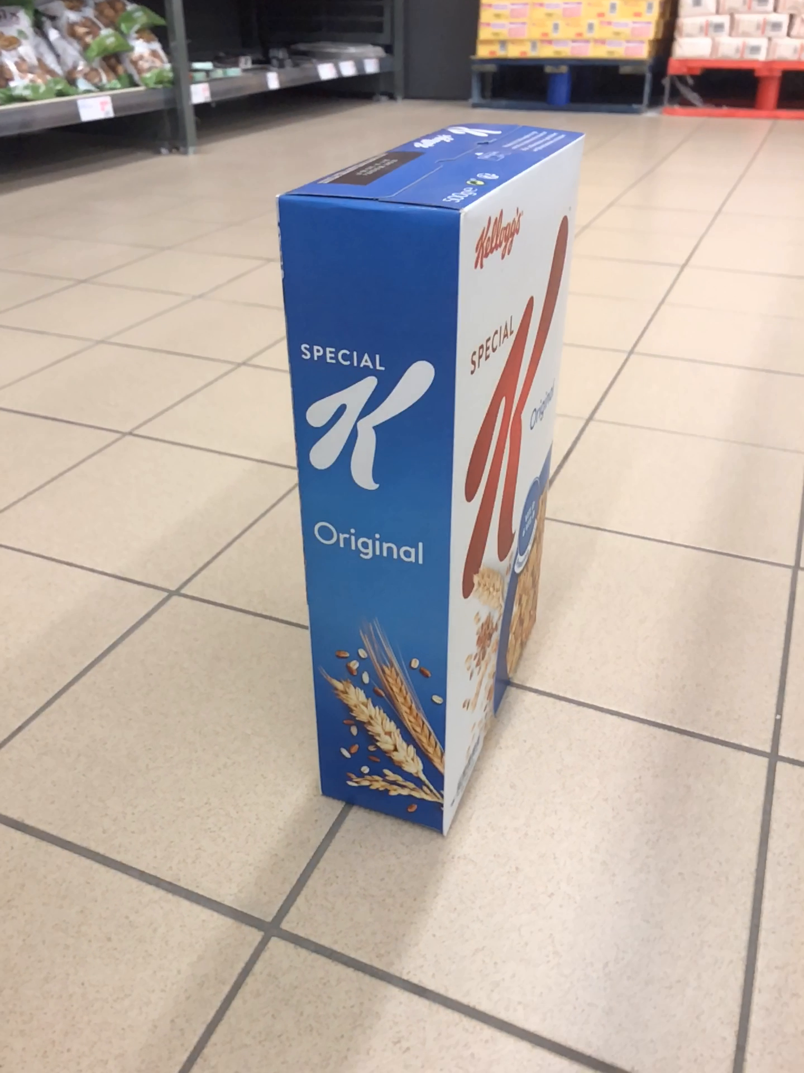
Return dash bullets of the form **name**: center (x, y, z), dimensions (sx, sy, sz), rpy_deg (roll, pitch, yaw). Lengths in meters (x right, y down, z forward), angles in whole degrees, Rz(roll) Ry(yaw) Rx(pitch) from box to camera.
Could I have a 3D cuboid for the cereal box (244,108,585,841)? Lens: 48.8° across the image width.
- **cereal box**: center (0.020, -0.040, 0.446), dimensions (0.070, 0.298, 0.211), rpy_deg (11, 32, 19)
